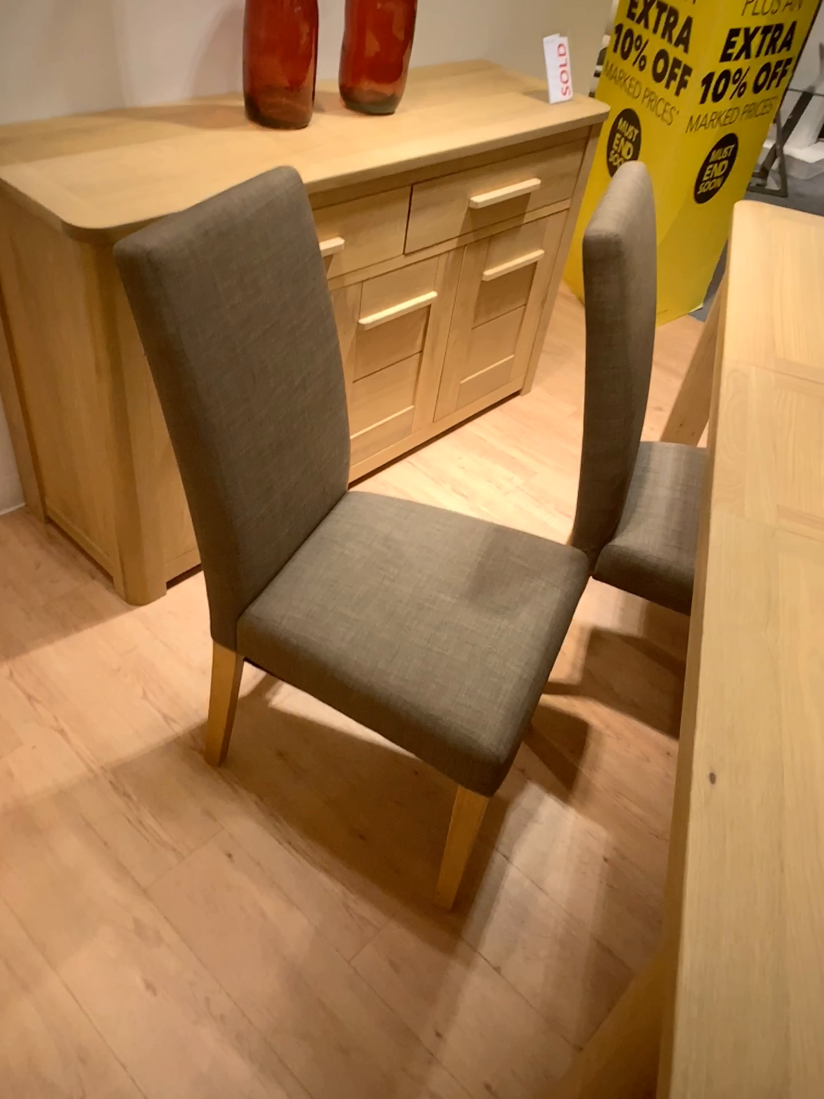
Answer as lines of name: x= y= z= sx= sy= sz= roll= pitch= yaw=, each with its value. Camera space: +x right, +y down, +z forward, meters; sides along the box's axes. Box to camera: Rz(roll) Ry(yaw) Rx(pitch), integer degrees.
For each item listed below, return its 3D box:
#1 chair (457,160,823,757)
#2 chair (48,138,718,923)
chair: x=0.452 y=-0.147 z=1.443 sx=0.504 sy=0.765 sz=0.501 roll=19 pitch=42 yaw=10
chair: x=-0.045 y=-0.009 z=1.241 sx=0.604 sy=0.884 sz=0.511 roll=22 pitch=43 yaw=13
